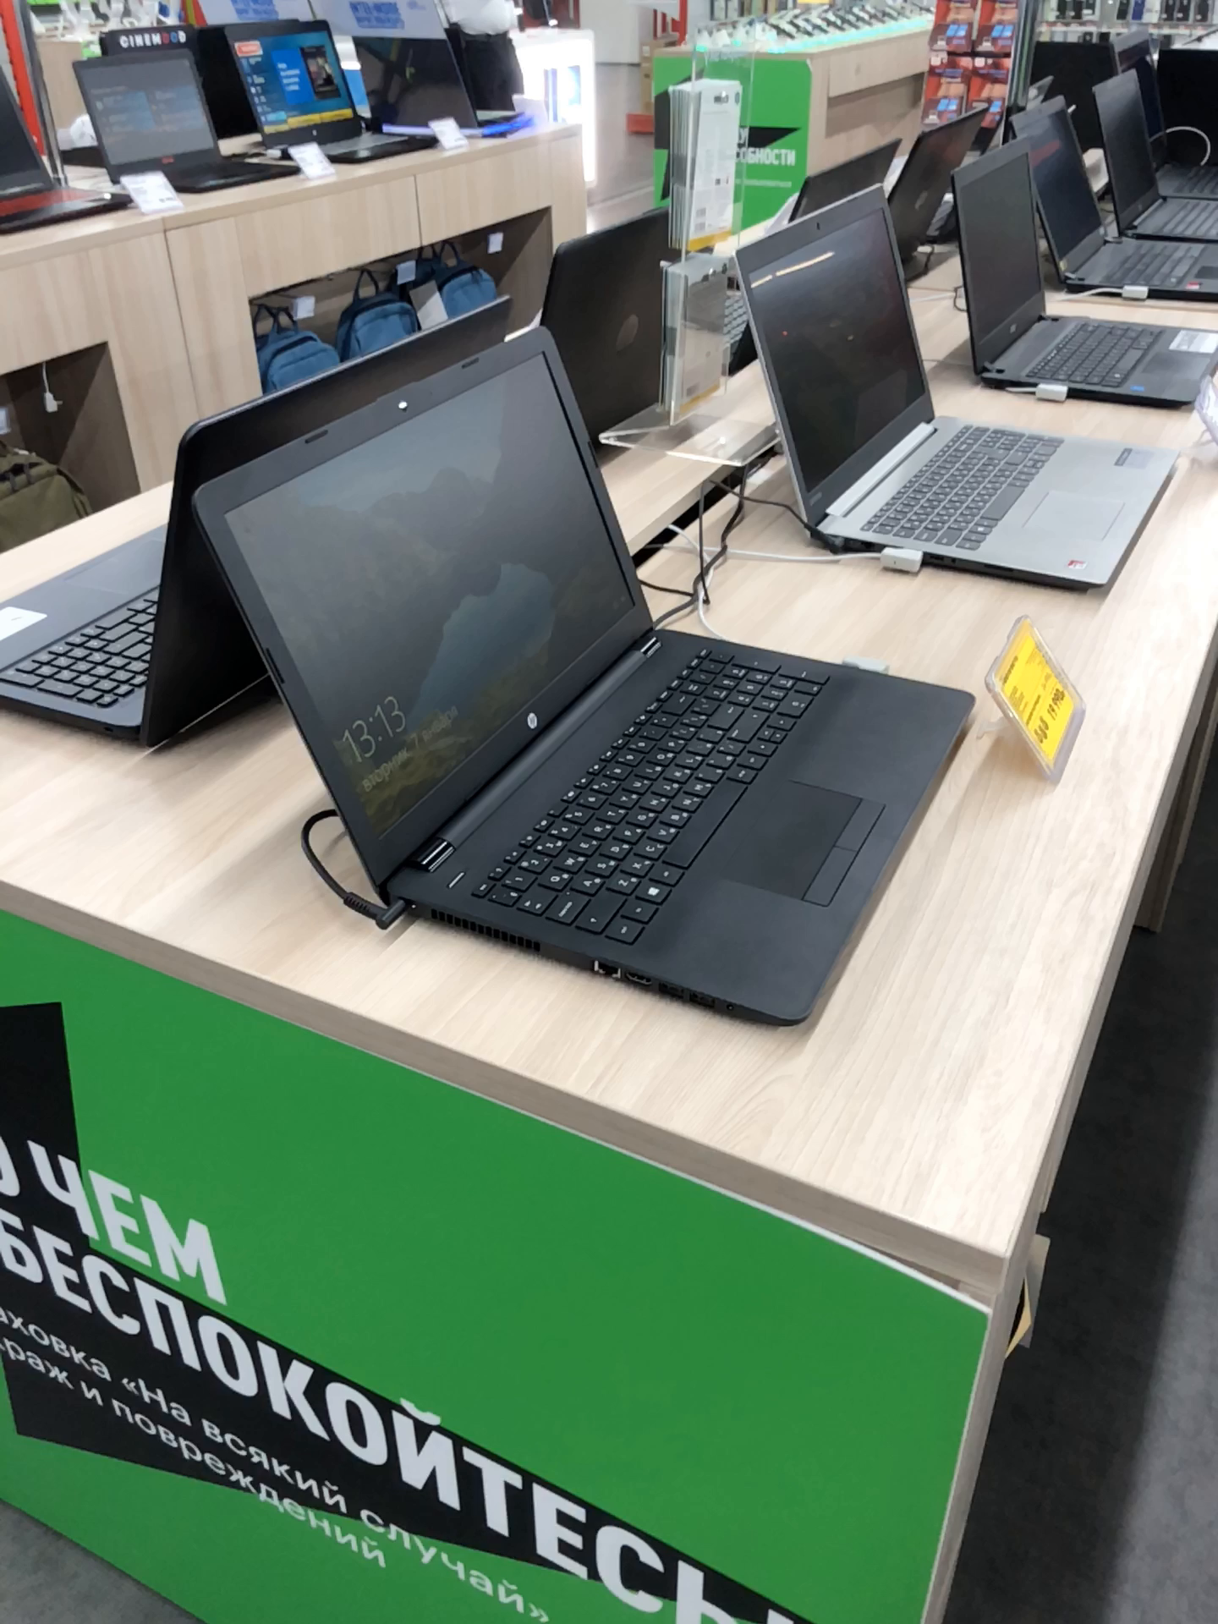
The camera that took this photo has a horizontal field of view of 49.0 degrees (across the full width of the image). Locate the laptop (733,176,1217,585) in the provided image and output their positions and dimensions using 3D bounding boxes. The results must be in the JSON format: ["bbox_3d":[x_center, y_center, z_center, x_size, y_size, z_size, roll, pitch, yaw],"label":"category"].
[{"bbox_3d":[0.348,-0.424,1.247,0.339,0.226,0.372,17,38,24],"label":"laptop"}]

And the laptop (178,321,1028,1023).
[{"bbox_3d":[0.025,-0.122,0.801,0.341,0.217,0.378,15,36,22],"label":"laptop"}]
